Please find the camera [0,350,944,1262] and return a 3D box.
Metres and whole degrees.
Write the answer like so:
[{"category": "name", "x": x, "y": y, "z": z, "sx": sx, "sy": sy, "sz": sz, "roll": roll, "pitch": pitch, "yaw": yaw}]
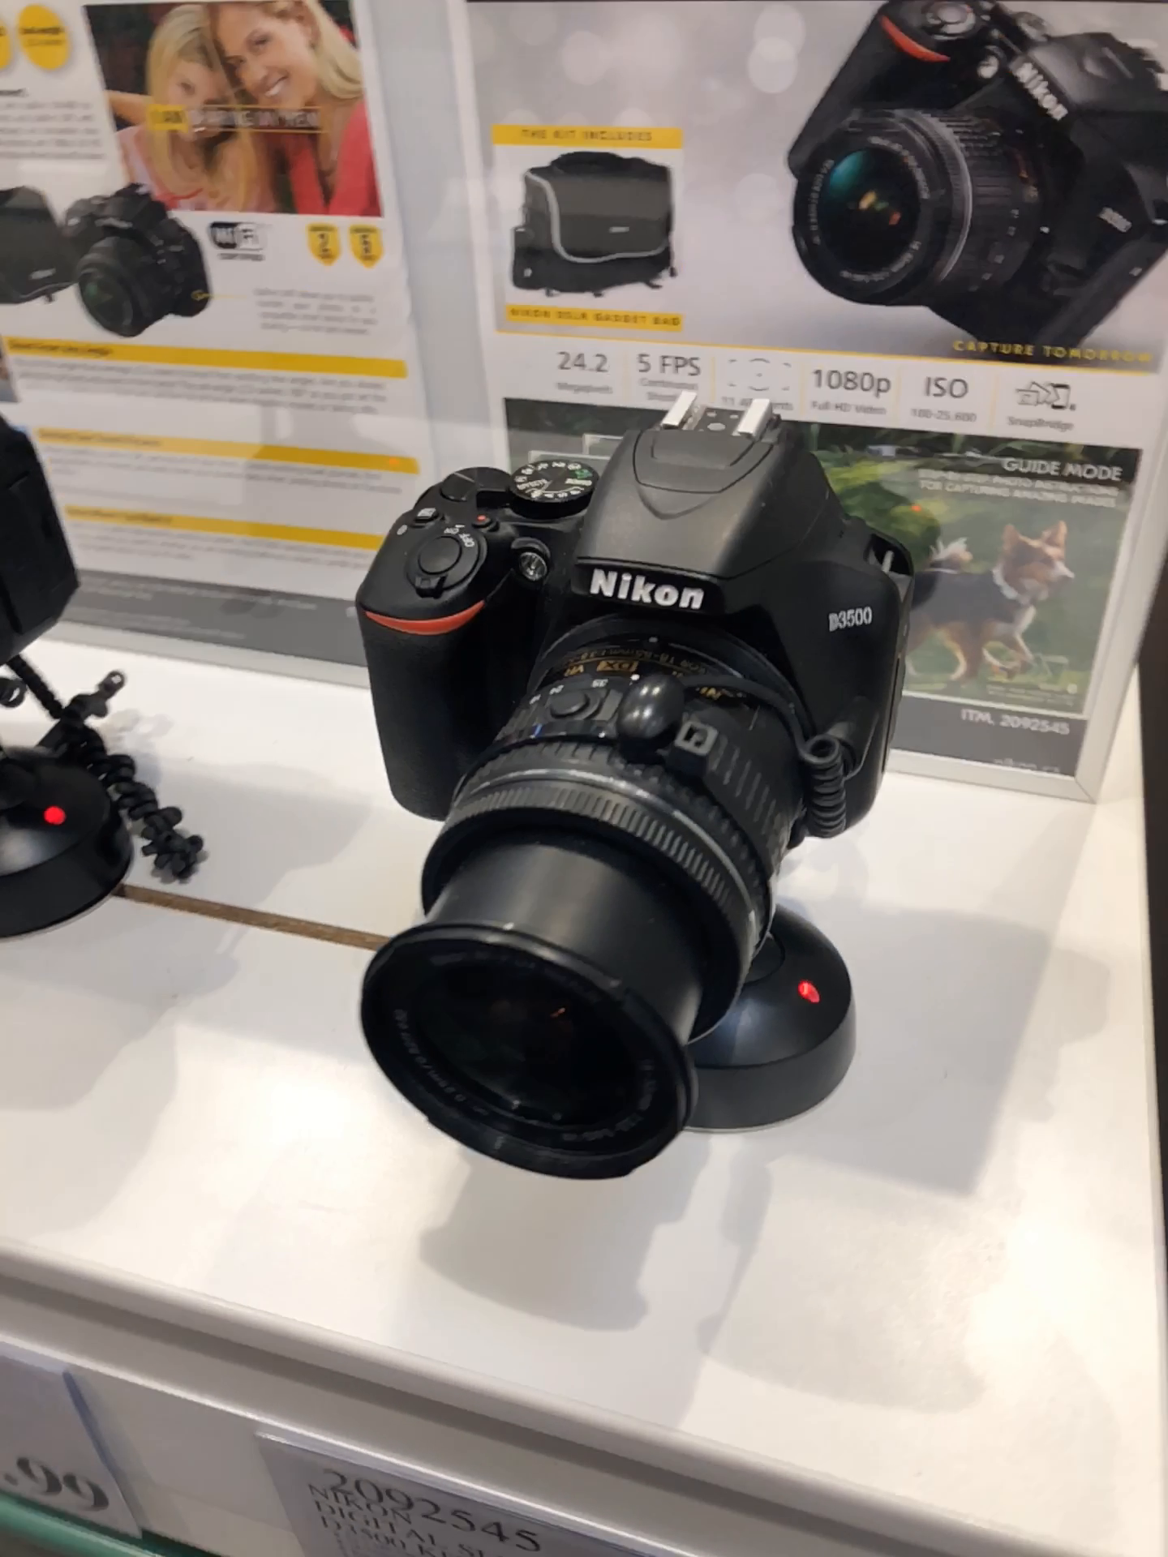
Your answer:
[{"category": "camera", "x": -0.009, "y": -0.009, "z": 0.252, "sx": 0.130, "sy": 0.089, "sz": 0.141, "roll": 10, "pitch": 40, "yaw": 15}]
